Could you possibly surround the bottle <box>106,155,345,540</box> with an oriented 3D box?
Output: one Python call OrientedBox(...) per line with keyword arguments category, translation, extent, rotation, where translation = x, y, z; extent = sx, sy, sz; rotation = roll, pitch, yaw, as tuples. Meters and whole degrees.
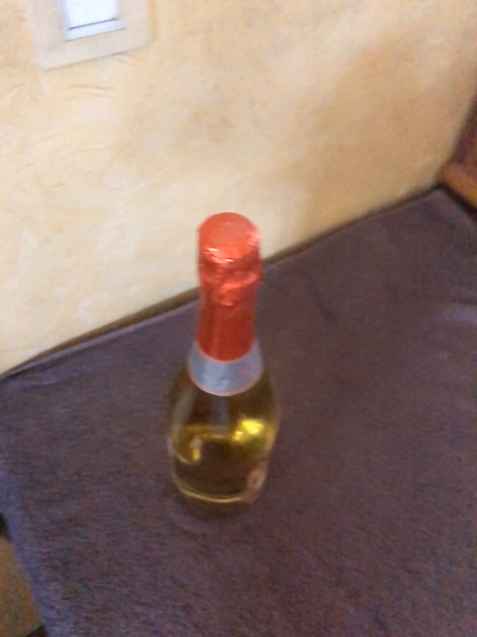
OrientedBox(category="bottle", translation=(-0.008, 0.052, 0.373), extent=(0.090, 0.308, 0.091), rotation=(1, 52, -2))
